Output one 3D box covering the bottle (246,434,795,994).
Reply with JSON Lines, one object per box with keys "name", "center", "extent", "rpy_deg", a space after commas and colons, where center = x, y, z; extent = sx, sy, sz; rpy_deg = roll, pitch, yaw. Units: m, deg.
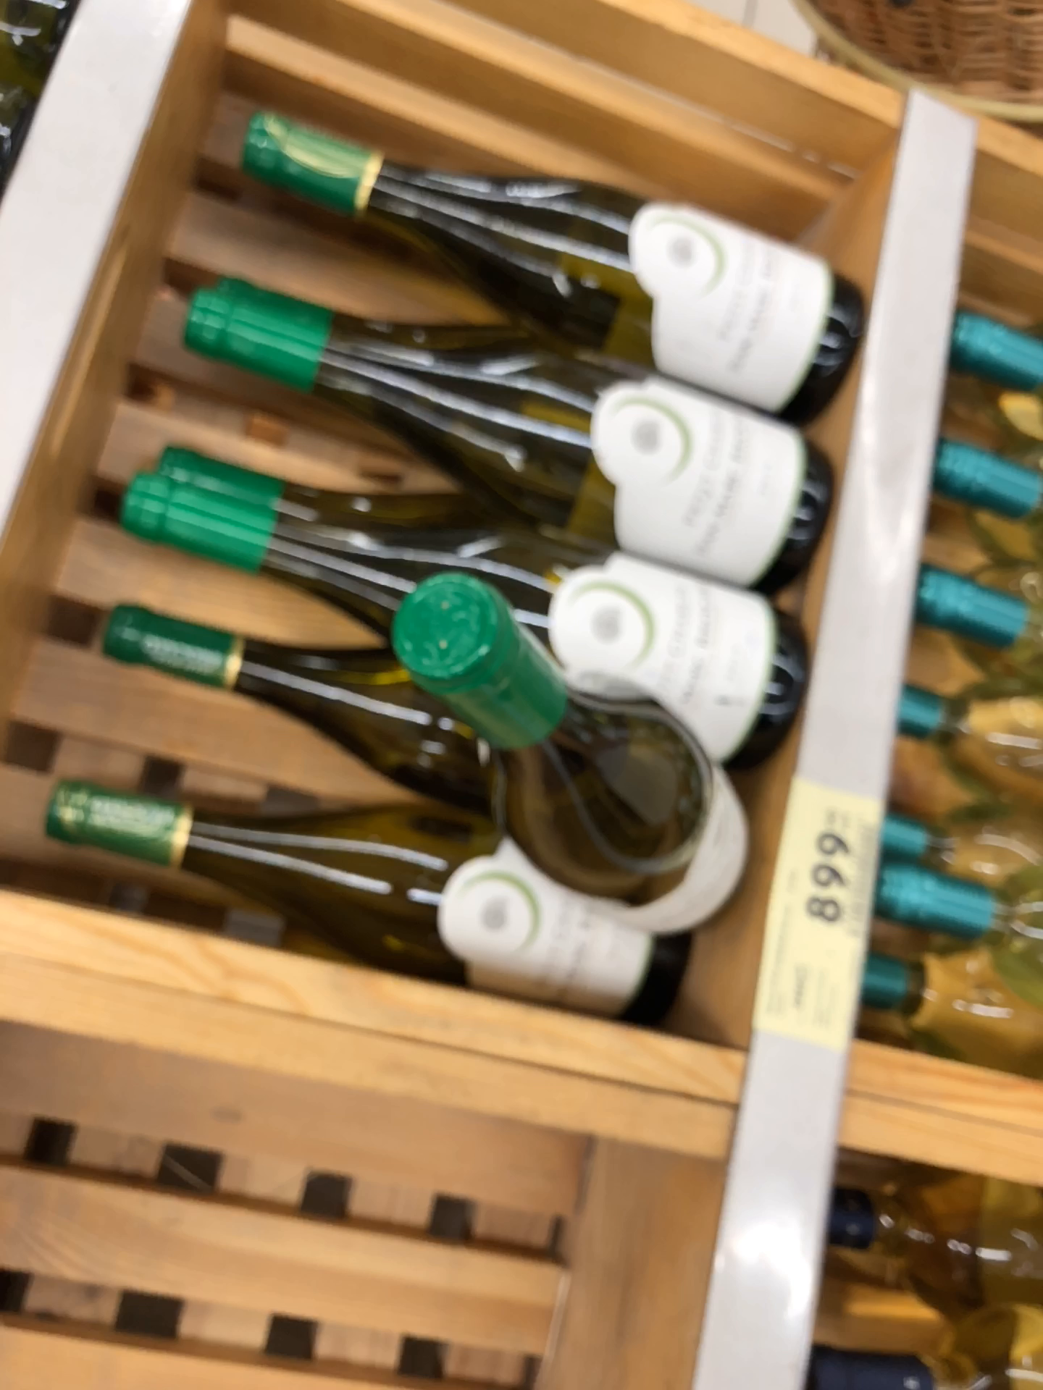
{"name": "bottle", "center": [0.030, 0.032, 0.393], "extent": [0.090, 0.289, 0.090], "rpy_deg": [-5, 71, 14]}
